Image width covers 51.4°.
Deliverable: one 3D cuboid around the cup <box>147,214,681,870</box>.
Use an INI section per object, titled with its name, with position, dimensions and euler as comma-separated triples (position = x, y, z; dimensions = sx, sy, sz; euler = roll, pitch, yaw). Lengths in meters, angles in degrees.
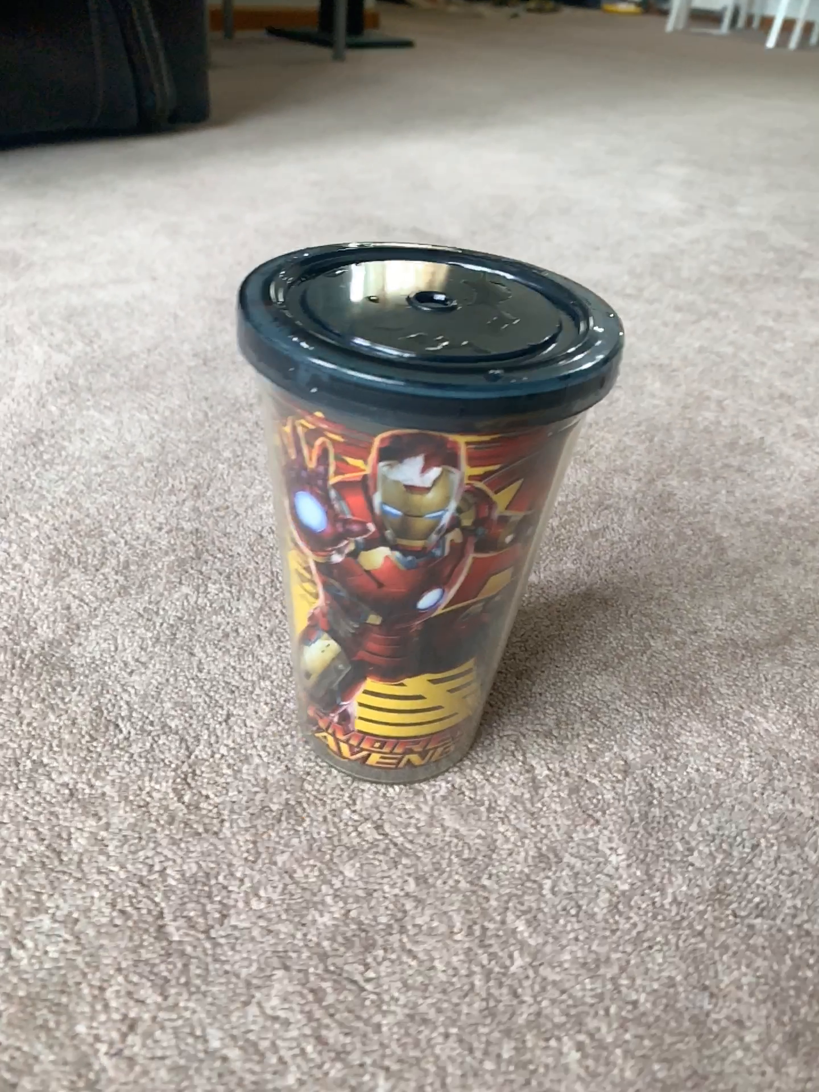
[cup]
position = 0.003, -0.007, 0.251
dimensions = 0.100, 0.139, 0.101
euler = 3, 35, -2
